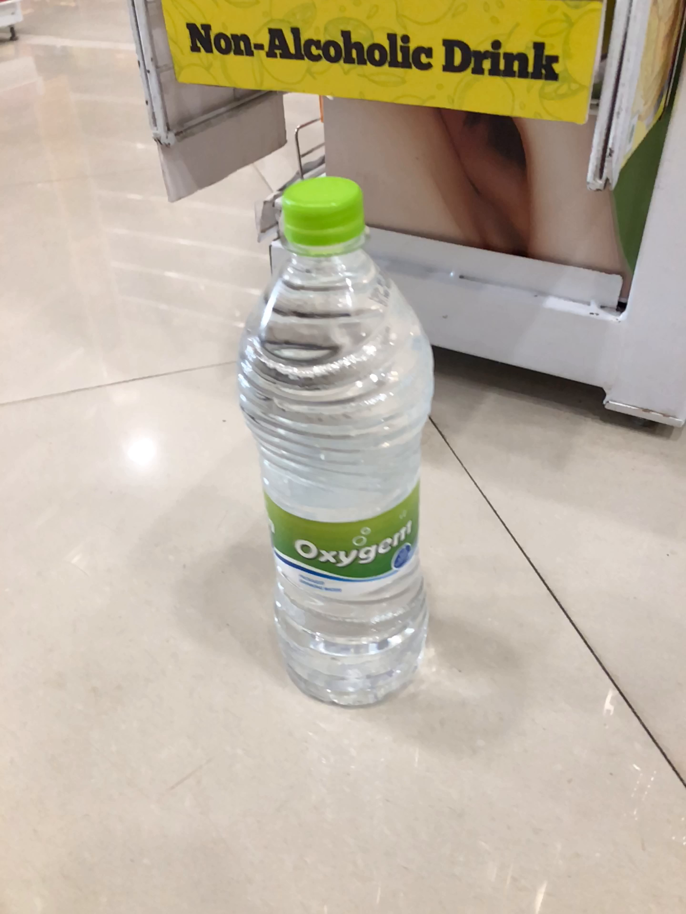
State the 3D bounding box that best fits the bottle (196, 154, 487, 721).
[{"bbox_3d":[0.006,0.009,0.345,0.090,0.258,0.081,0,38,3],"label":"bottle"}]
